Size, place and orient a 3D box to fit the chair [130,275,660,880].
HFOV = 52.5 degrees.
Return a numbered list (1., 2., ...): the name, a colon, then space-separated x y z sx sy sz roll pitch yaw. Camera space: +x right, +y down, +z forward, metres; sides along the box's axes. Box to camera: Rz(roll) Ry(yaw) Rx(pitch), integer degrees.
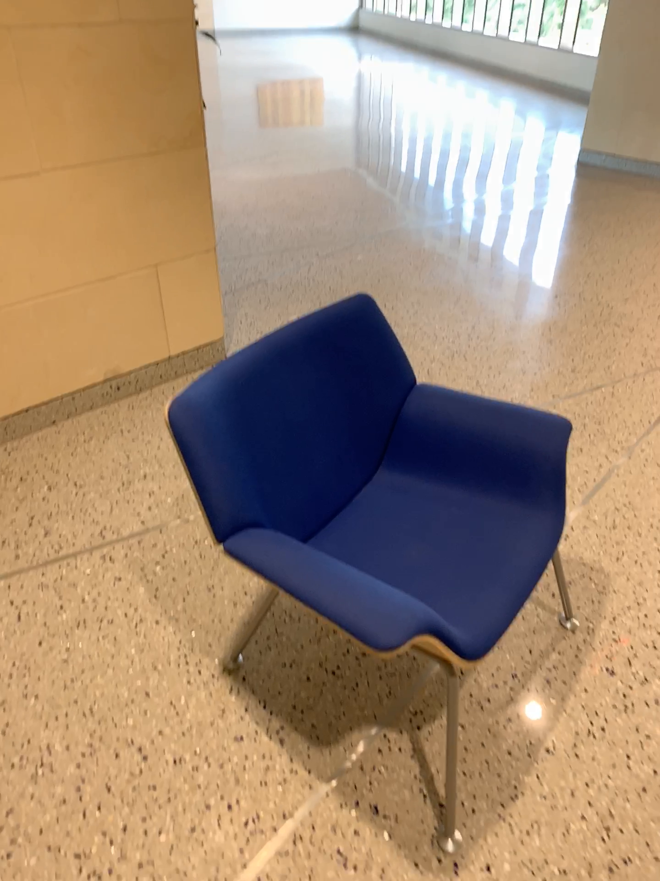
1. chair: 0.183 0.190 1.459 0.759 0.727 0.783 23 40 29
